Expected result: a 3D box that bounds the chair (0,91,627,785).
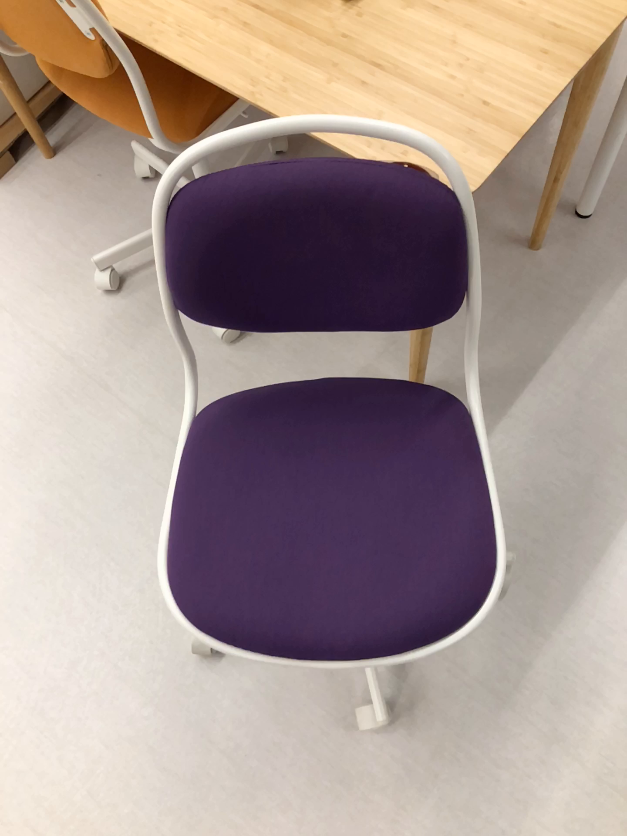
[{"bbox_3d":[0.039,0.106,0.992,0.620,0.777,0.662,0,66,6],"label":"chair"}]
